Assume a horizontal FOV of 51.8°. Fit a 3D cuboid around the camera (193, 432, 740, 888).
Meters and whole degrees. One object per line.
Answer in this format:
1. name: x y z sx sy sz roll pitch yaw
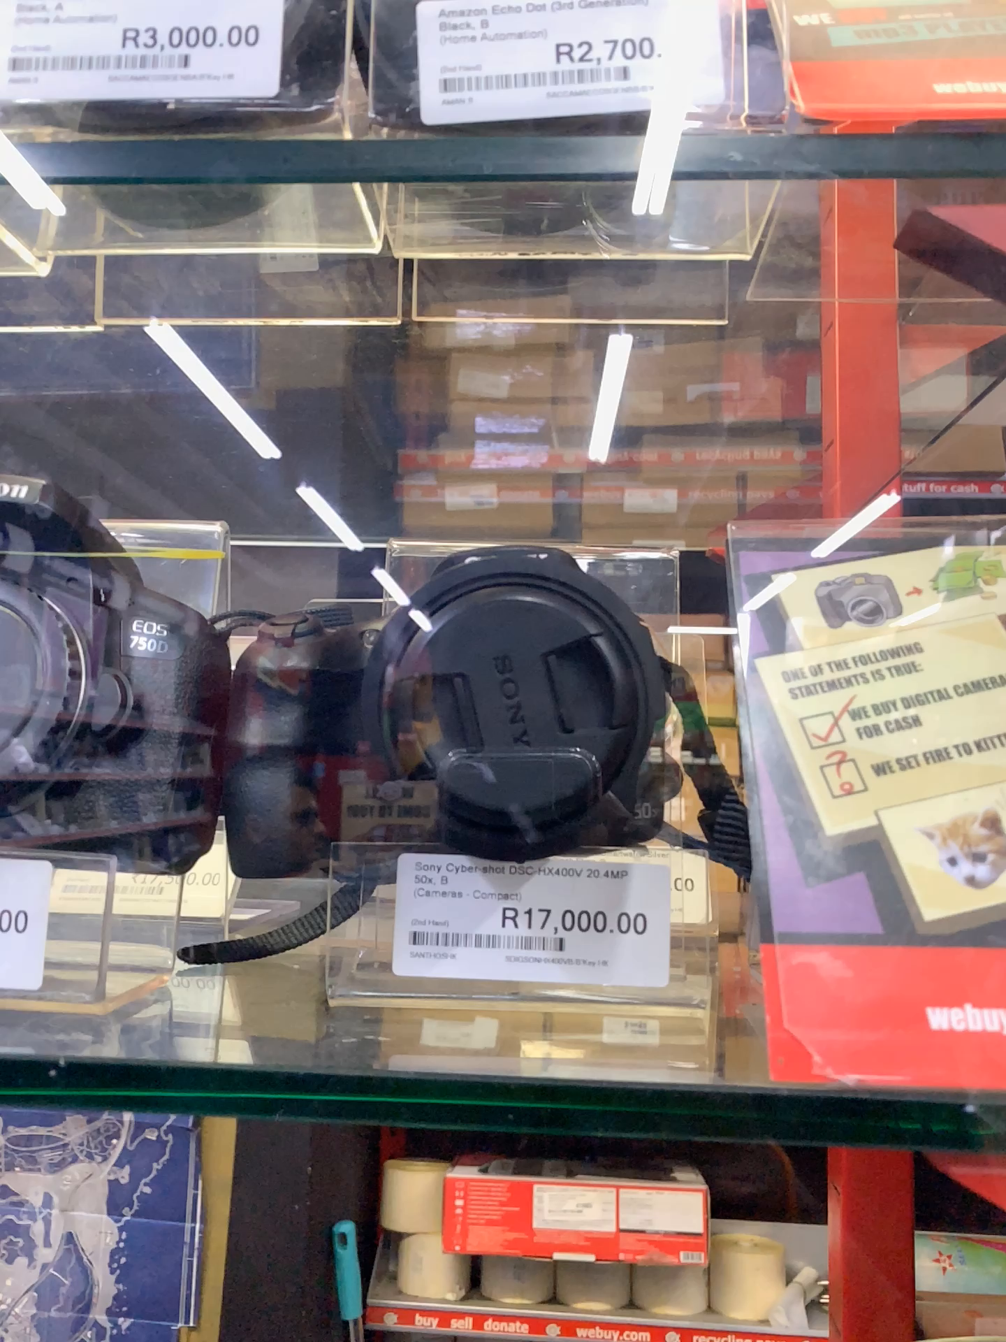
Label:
1. camera: -0.007 0.001 0.278 0.120 0.100 0.090 2 -6 -1
